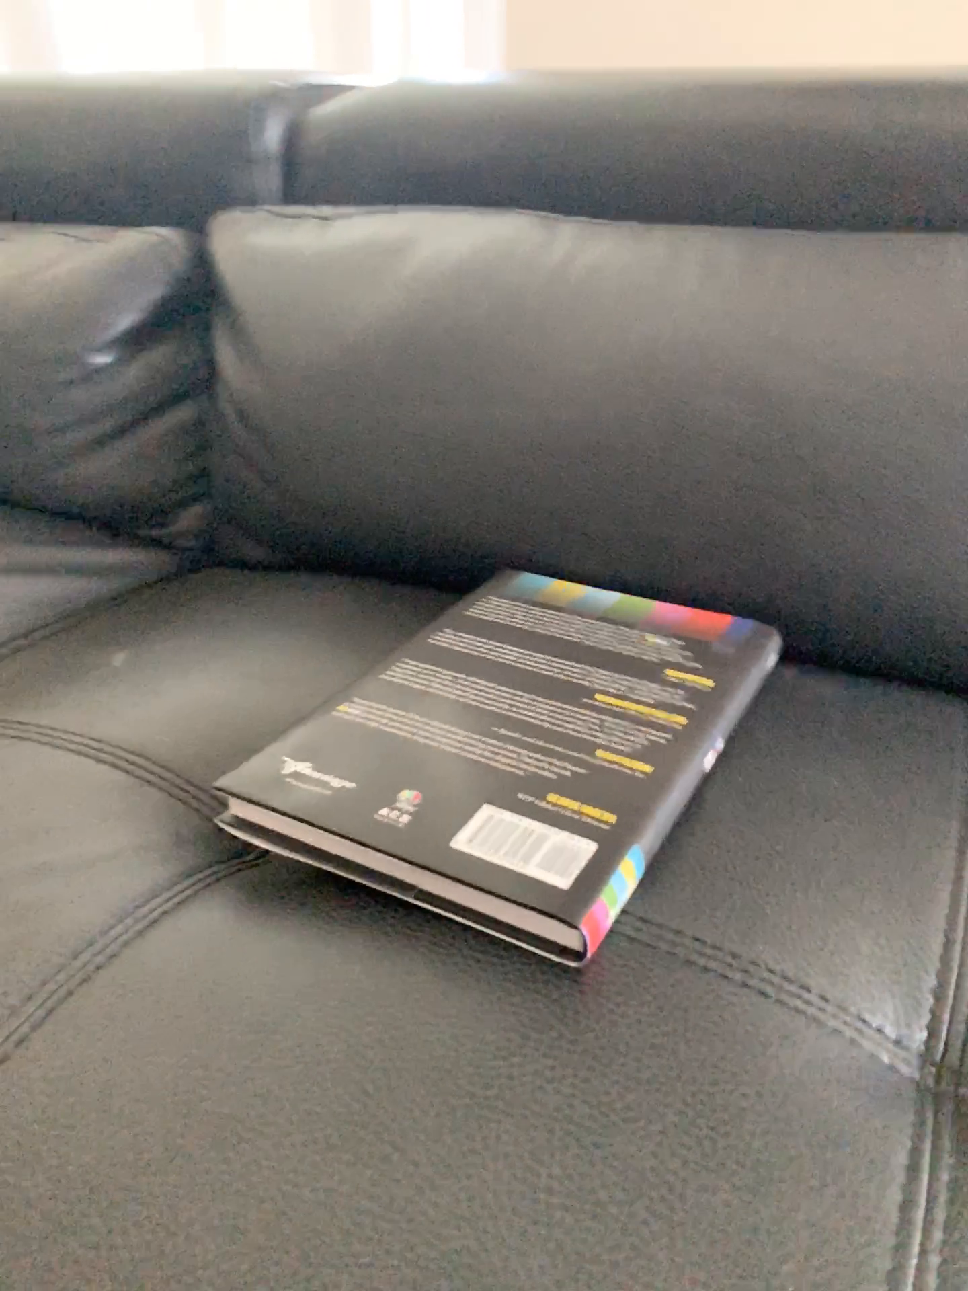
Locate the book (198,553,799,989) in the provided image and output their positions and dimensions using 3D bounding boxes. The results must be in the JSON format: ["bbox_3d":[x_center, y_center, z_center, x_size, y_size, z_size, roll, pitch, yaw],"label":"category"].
[{"bbox_3d":[0.023,0.027,0.428,0.160,0.030,0.238,14,31,27],"label":"book"}]
